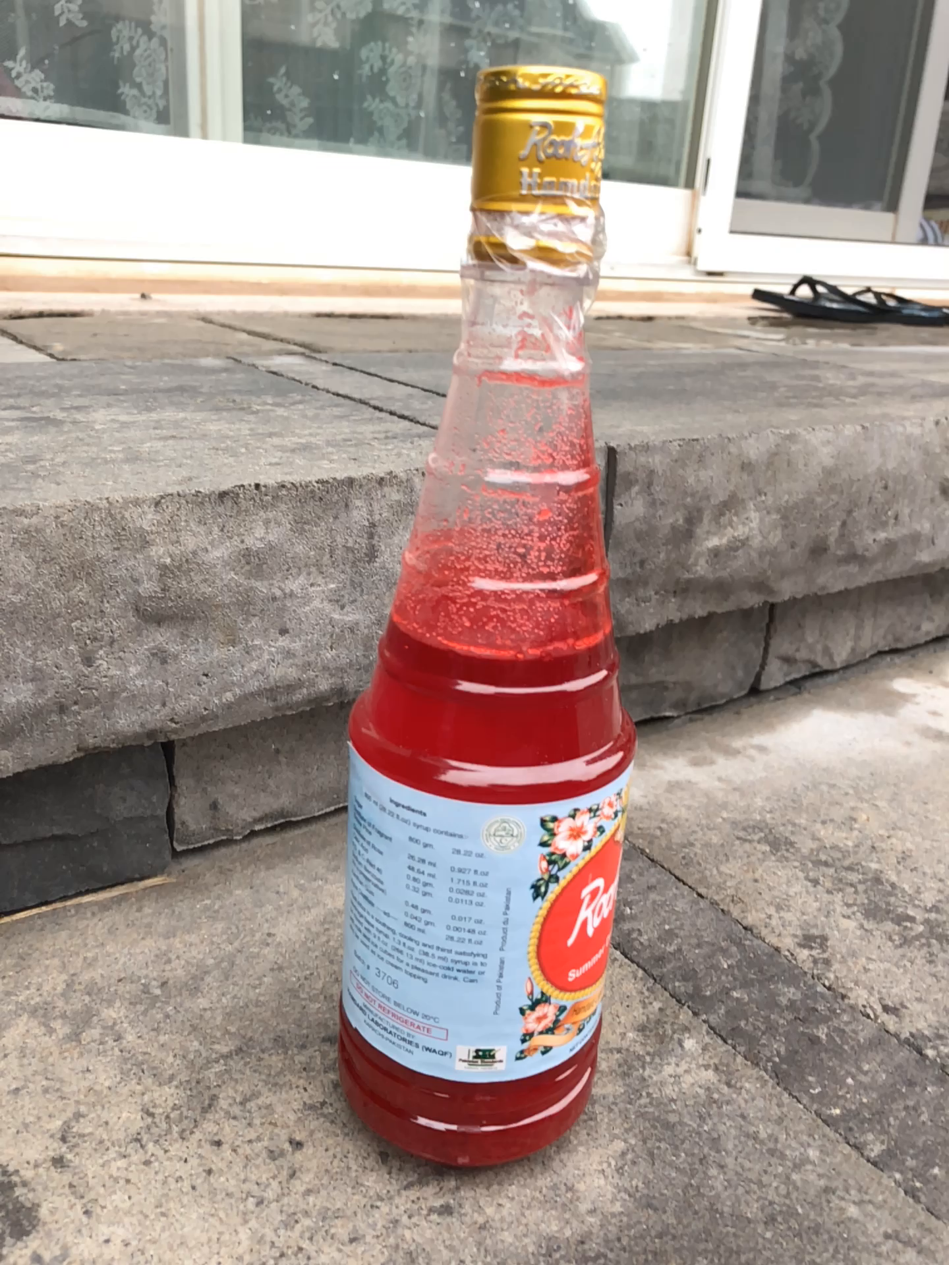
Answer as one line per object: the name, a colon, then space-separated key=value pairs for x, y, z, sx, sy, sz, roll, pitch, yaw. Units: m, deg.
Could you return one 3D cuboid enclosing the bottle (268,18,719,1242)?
bottle: x=0.003 y=0.008 z=0.276 sx=0.080 sy=0.279 sz=0.090 roll=8 pitch=21 yaw=12
